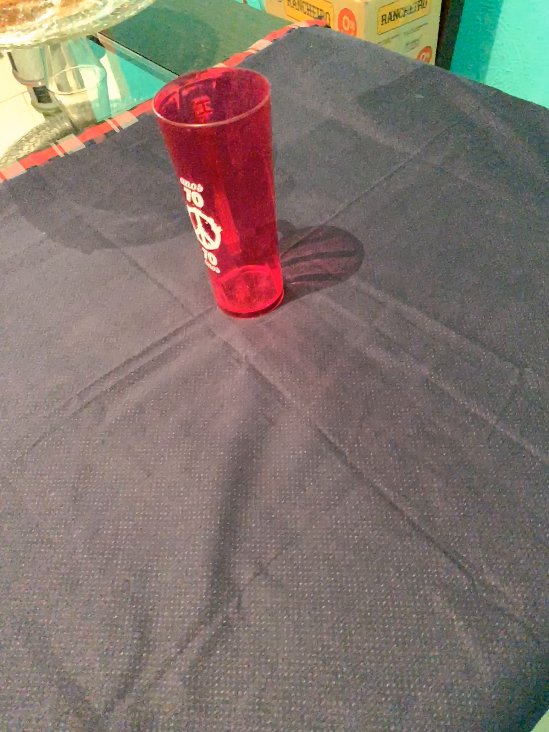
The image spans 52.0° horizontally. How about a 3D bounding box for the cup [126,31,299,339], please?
[{"bbox_3d":[-0.038,-0.119,0.399,0.070,0.169,0.100,-17,52,-6],"label":"cup"}]
